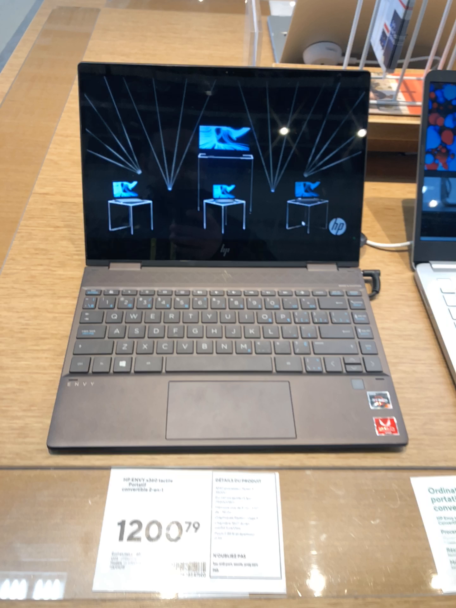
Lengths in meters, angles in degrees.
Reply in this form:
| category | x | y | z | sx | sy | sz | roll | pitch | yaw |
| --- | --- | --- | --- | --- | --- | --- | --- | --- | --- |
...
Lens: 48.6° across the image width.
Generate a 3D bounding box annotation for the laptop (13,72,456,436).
| category | x | y | z | sx | sy | sz | roll | pitch | yaw |
| --- | --- | --- | --- | --- | --- | --- | --- | --- | --- |
| laptop | 0.010 | -0.064 | 0.477 | 0.293 | 0.162 | 0.319 | 0 | 49 | -3 |
